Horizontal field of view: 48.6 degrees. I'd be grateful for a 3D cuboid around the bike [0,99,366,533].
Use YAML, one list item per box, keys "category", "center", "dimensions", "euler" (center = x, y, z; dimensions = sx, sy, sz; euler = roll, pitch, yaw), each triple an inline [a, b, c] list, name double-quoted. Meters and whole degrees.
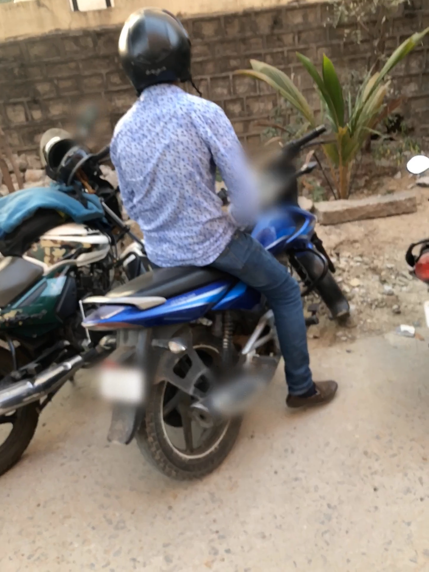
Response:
- category: "bike"
  center: [0.077, -0.085, 2.131]
  dimensions: [0.755, 1.076, 1.582]
  euler: [9, 33, 31]
